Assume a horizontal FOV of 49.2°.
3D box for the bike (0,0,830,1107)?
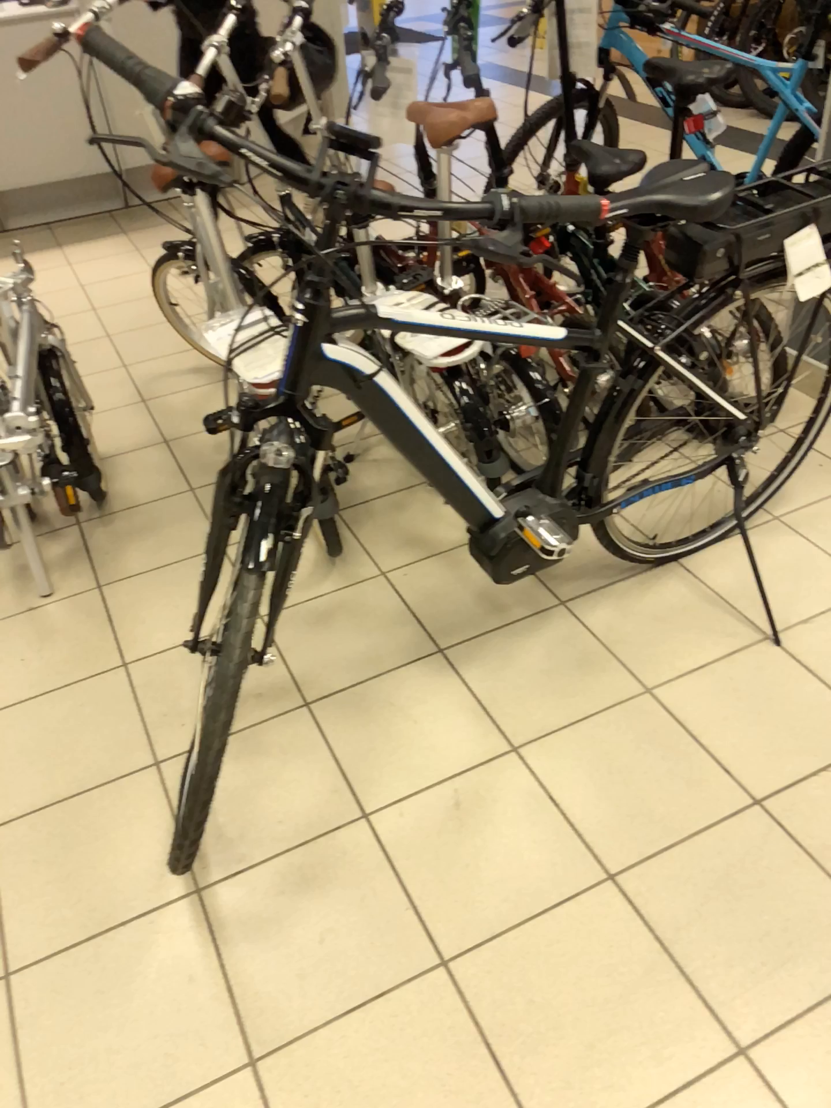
[{"bbox_3d":[0.295,-0.195,1.492,1.615,1.176,0.699,-31,43,-28],"label":"bike"}]
